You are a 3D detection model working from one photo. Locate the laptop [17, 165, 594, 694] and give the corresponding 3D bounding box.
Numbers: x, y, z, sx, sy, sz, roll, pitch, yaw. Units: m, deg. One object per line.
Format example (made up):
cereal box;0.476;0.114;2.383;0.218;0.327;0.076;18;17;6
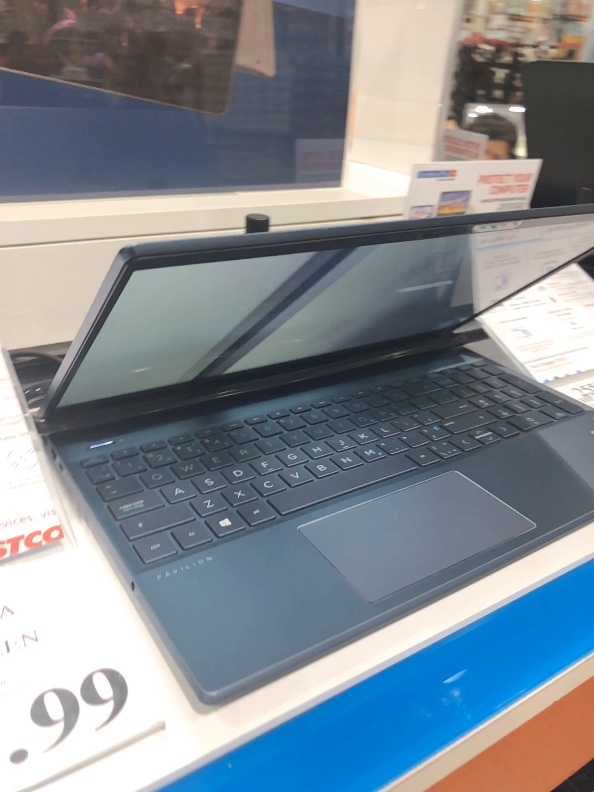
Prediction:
laptop;0.058;-0.035;0.377;0.346;0.149;0.218;-14;32;-31
